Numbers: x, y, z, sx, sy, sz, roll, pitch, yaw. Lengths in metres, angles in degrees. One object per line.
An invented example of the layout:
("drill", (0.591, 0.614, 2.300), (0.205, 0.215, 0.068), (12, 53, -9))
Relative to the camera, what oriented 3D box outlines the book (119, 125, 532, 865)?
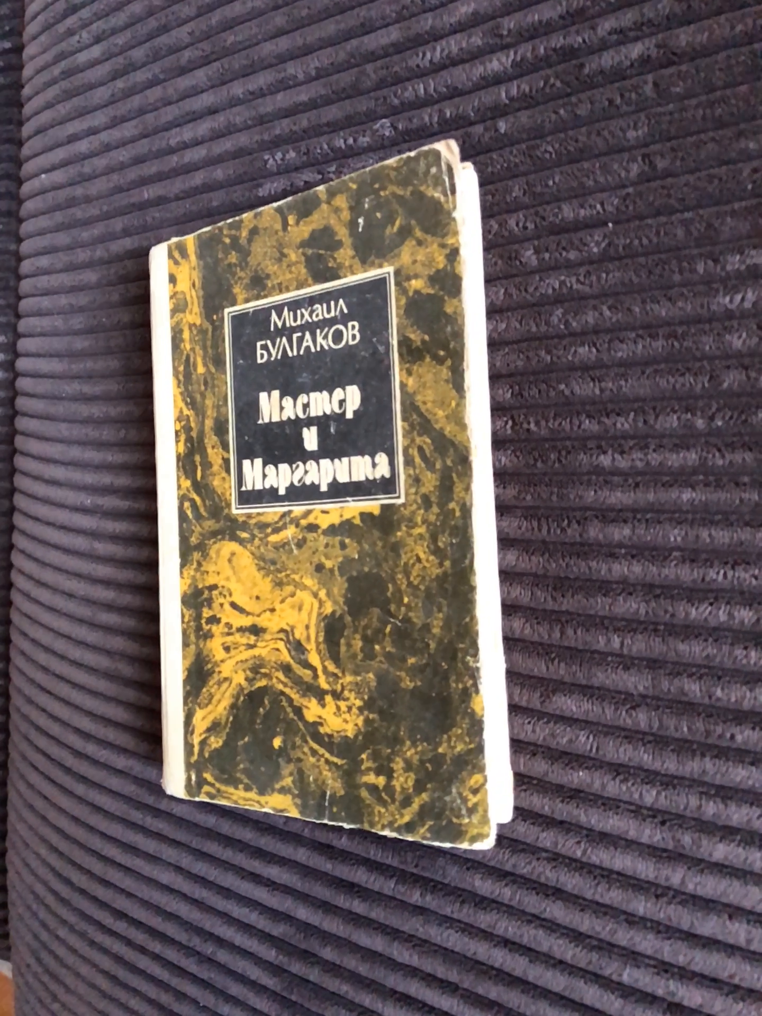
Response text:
("book", (-0.030, -0.001, 0.305), (0.155, 0.035, 0.220), (-5, 84, 34))
